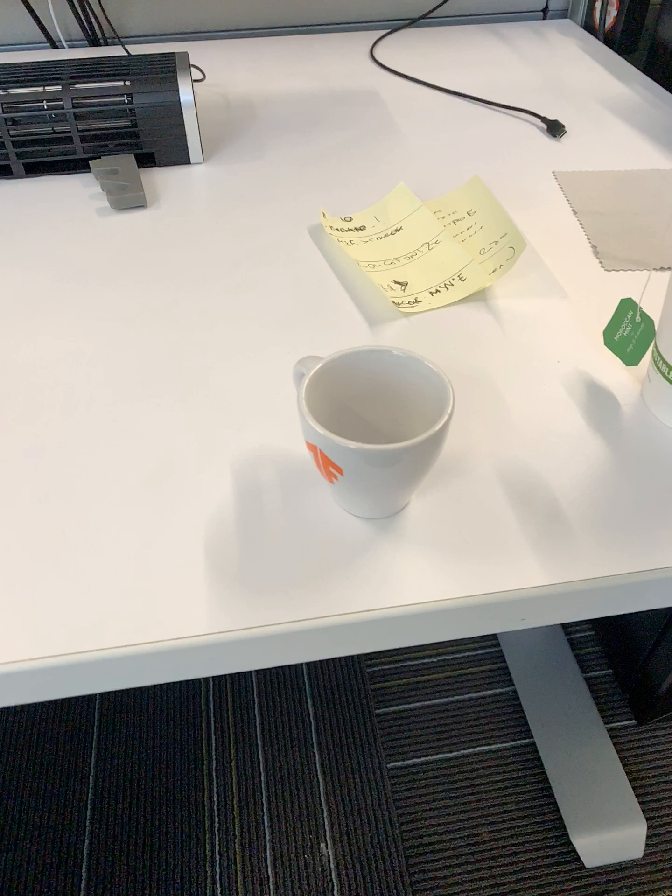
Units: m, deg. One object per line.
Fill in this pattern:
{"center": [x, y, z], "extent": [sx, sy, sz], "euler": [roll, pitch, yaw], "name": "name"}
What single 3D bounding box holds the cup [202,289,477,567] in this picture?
{"center": [-0.001, -0.013, 0.318], "extent": [0.070, 0.060, 0.100], "euler": [-31, 53, -26], "name": "cup"}
